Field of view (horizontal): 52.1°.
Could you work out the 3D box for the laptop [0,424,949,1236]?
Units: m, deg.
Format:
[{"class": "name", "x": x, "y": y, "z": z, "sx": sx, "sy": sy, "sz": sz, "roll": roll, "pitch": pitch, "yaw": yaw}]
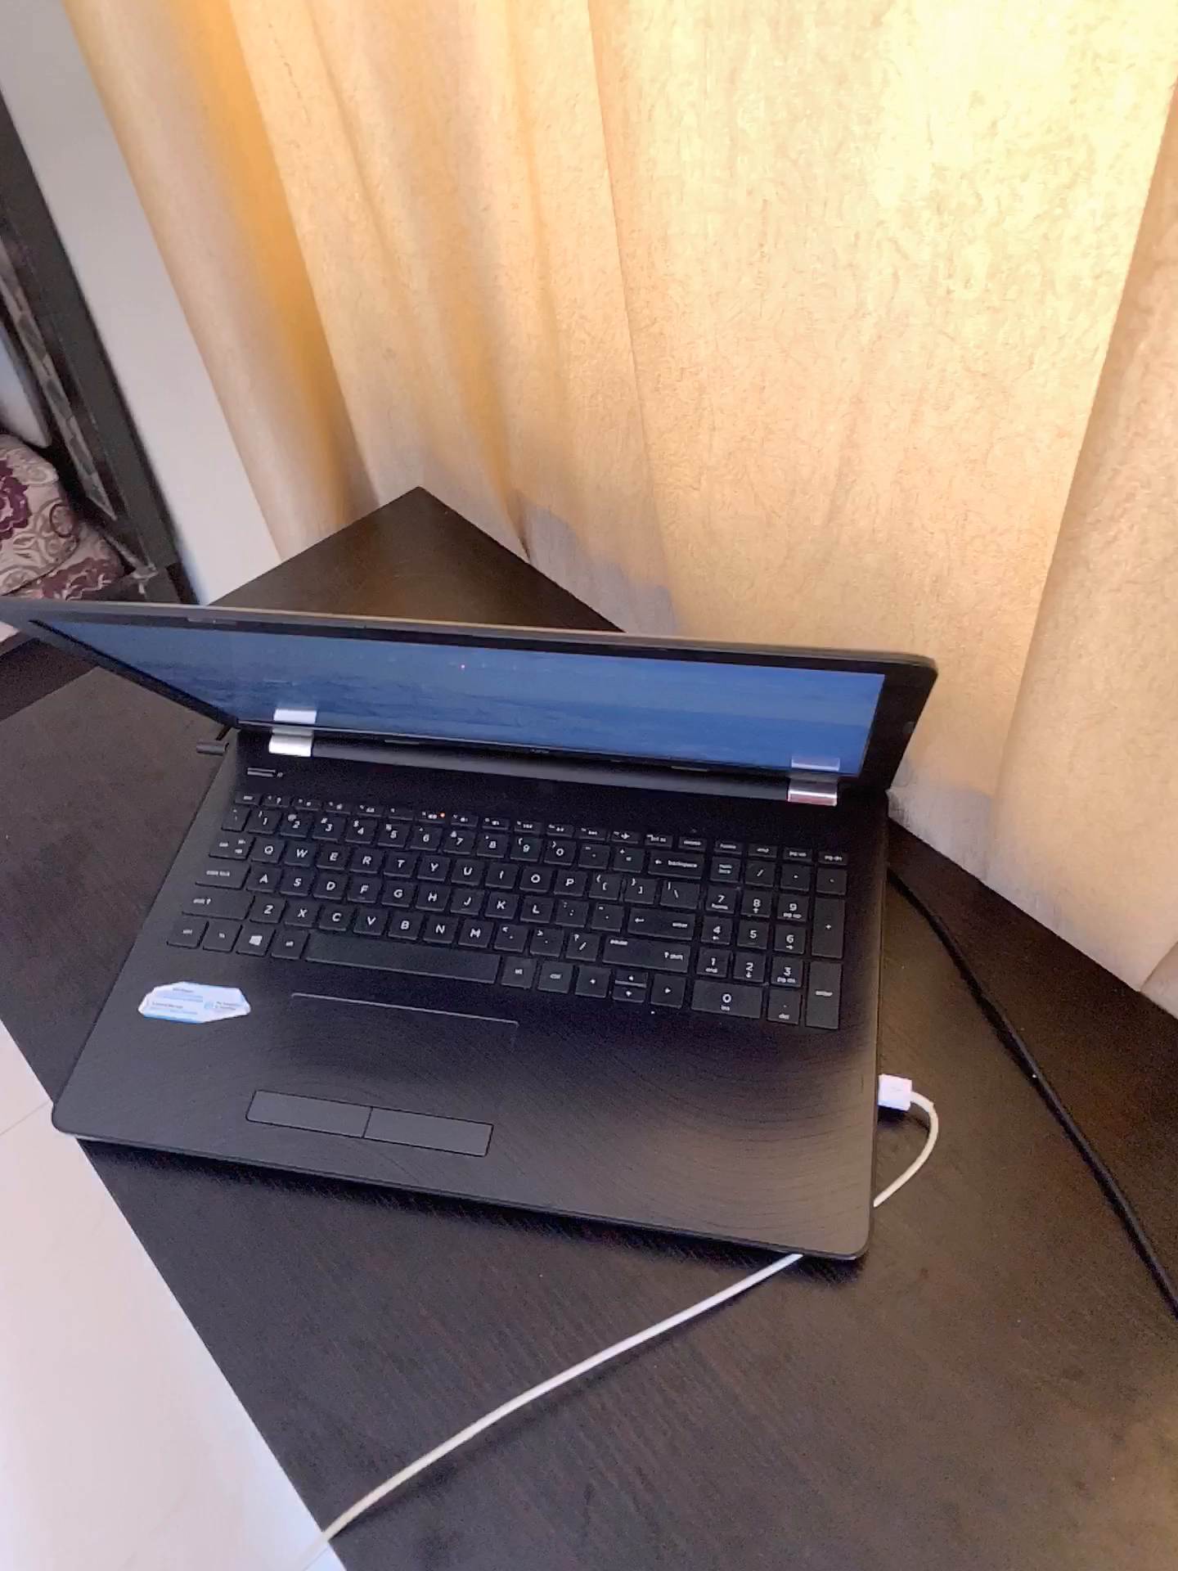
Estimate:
[{"class": "laptop", "x": -0.048, "y": 0.007, "z": 0.527, "sx": 0.362, "sy": 0.201, "sz": 0.239, "roll": 6, "pitch": 52, "yaw": 13}]
